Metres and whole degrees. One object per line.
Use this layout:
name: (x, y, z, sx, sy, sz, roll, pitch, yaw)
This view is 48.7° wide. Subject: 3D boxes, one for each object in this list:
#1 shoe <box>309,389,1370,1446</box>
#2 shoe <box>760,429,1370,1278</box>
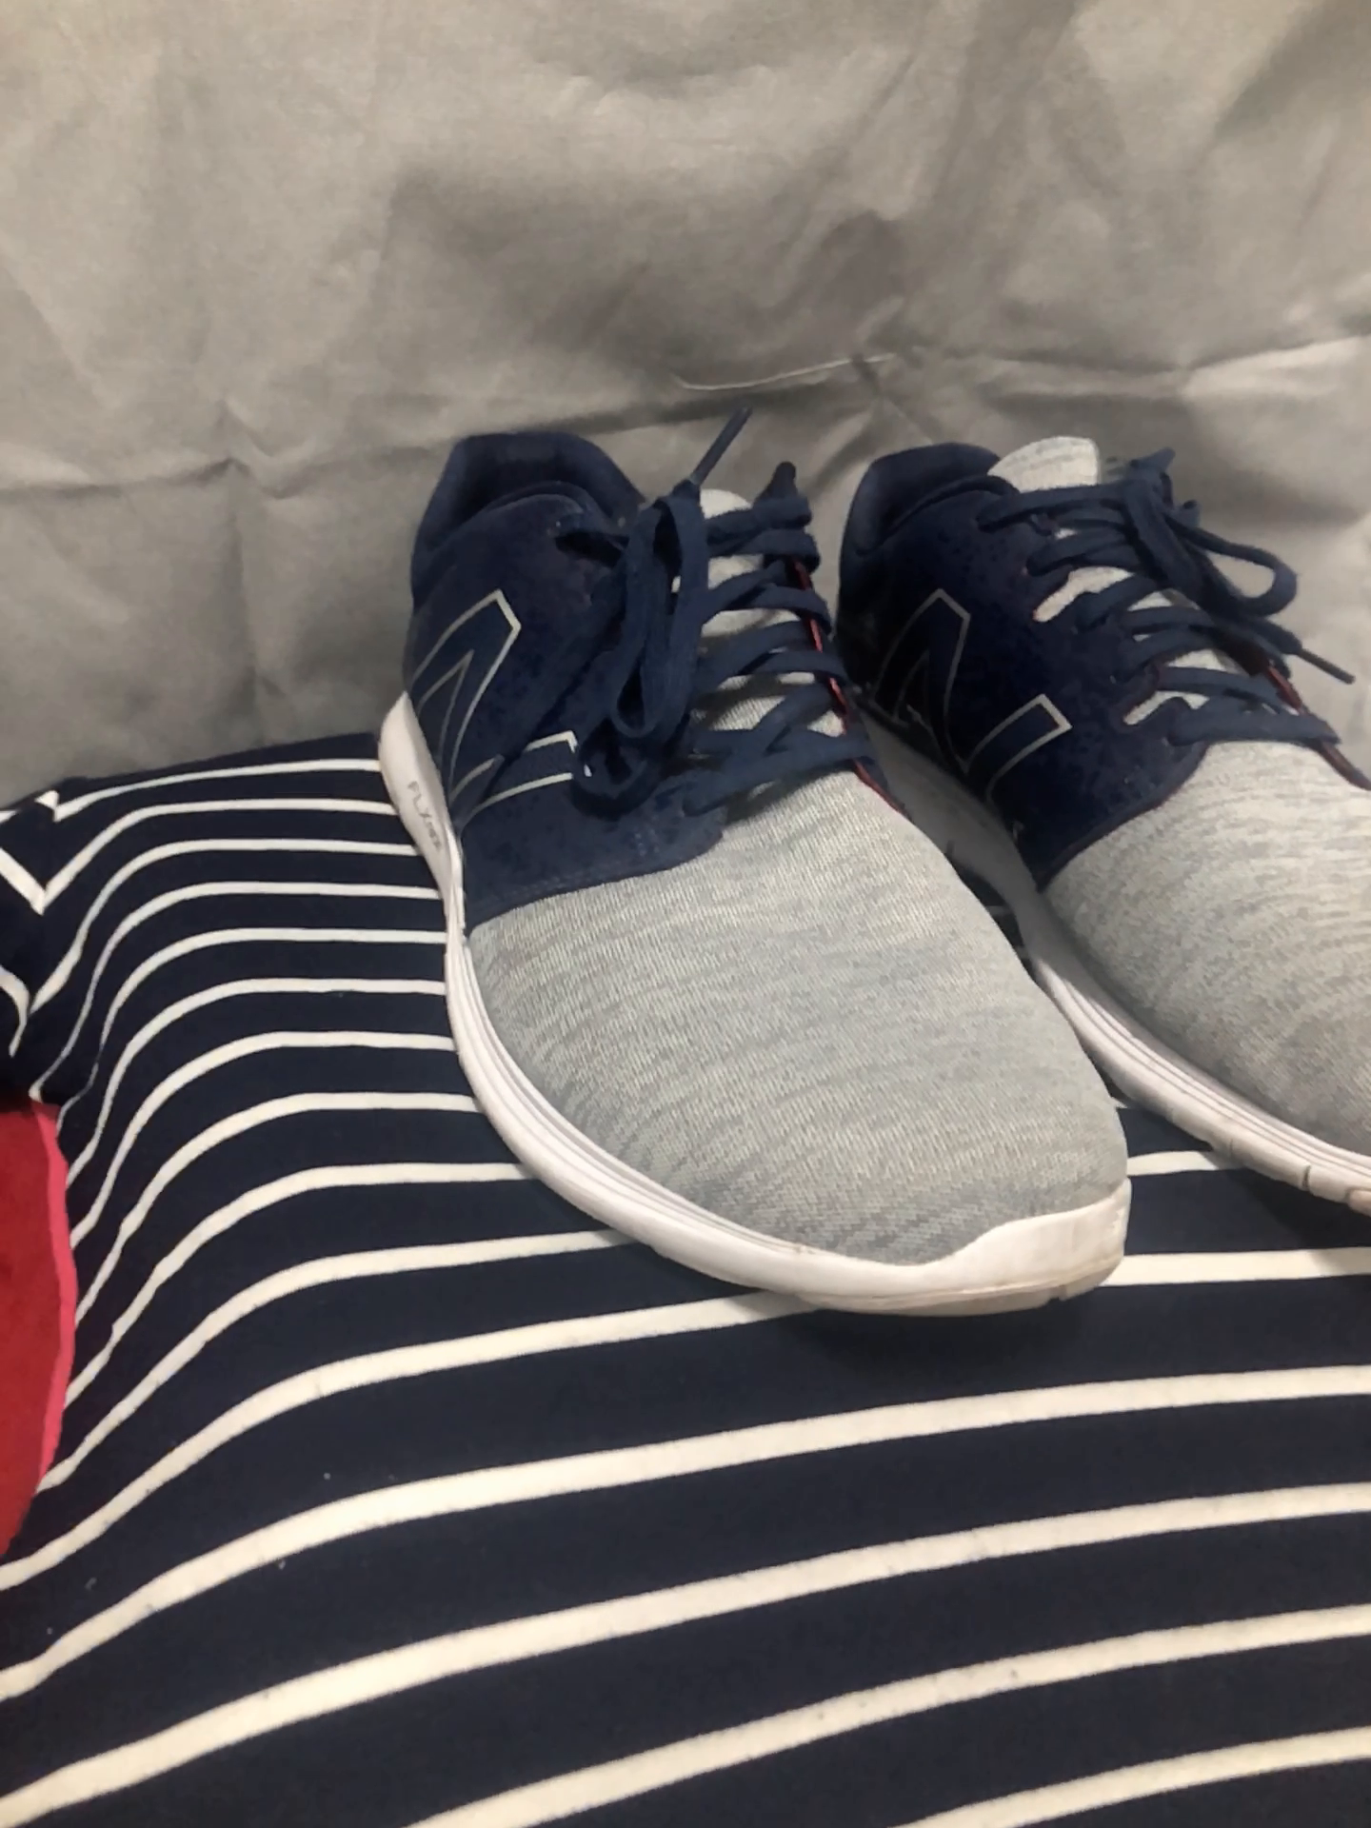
shoe: (-0.002, -0.043, 0.361, 0.120, 0.089, 0.323, -8, 32, -19)
shoe: (0.126, -0.044, 0.365, 0.120, 0.079, 0.262, -8, 32, -19)
